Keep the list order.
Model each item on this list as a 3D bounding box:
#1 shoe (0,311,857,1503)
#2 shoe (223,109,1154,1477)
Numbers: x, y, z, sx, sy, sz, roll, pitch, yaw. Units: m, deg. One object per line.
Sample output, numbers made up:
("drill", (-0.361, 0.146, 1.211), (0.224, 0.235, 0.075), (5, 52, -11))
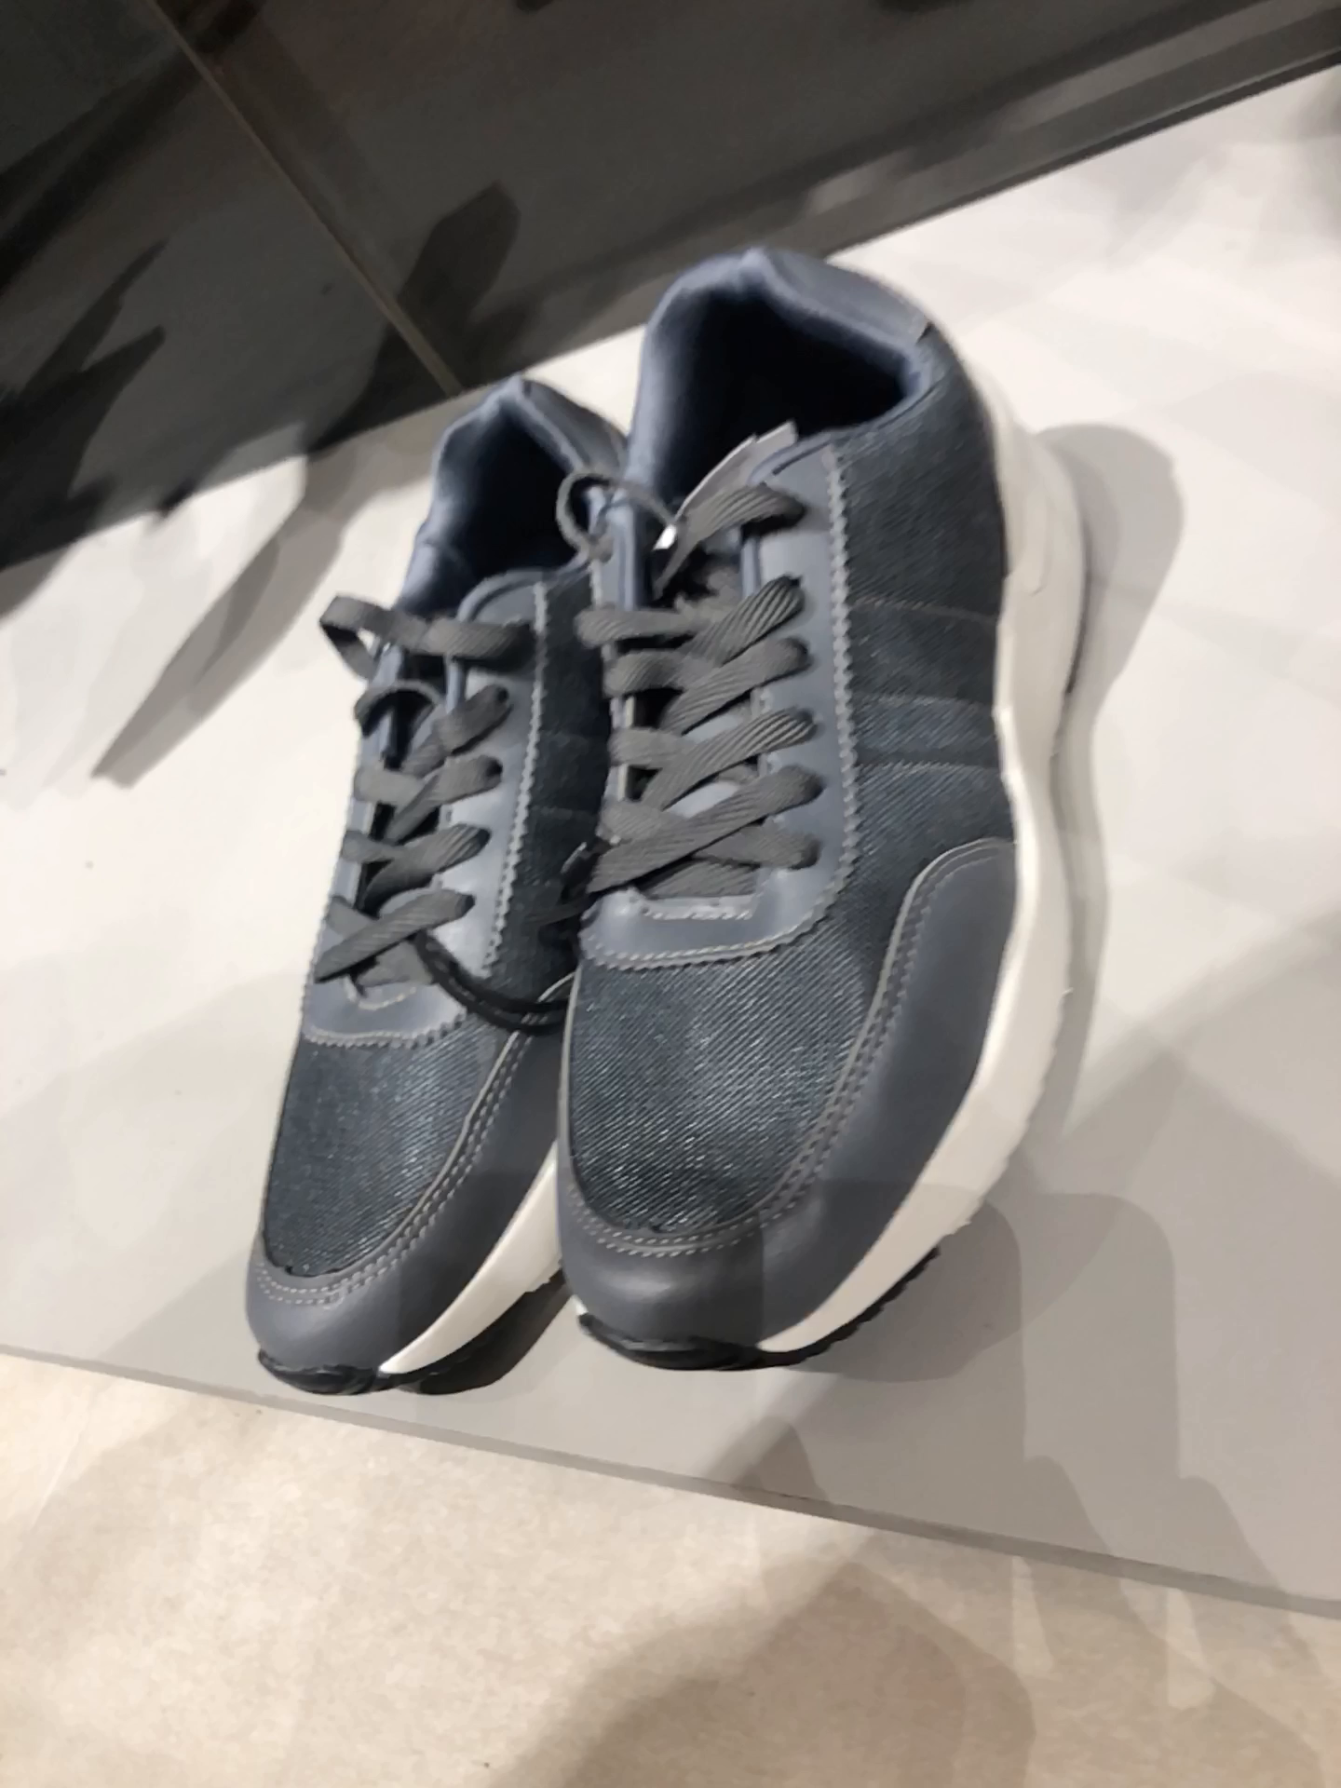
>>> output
("shoe", (-0.052, -0.008, 0.392), (0.110, 0.099, 0.281), (-6, 51, 36))
("shoe", (0.027, -0.034, 0.337), (0.110, 0.099, 0.281), (-9, 50, 34))
